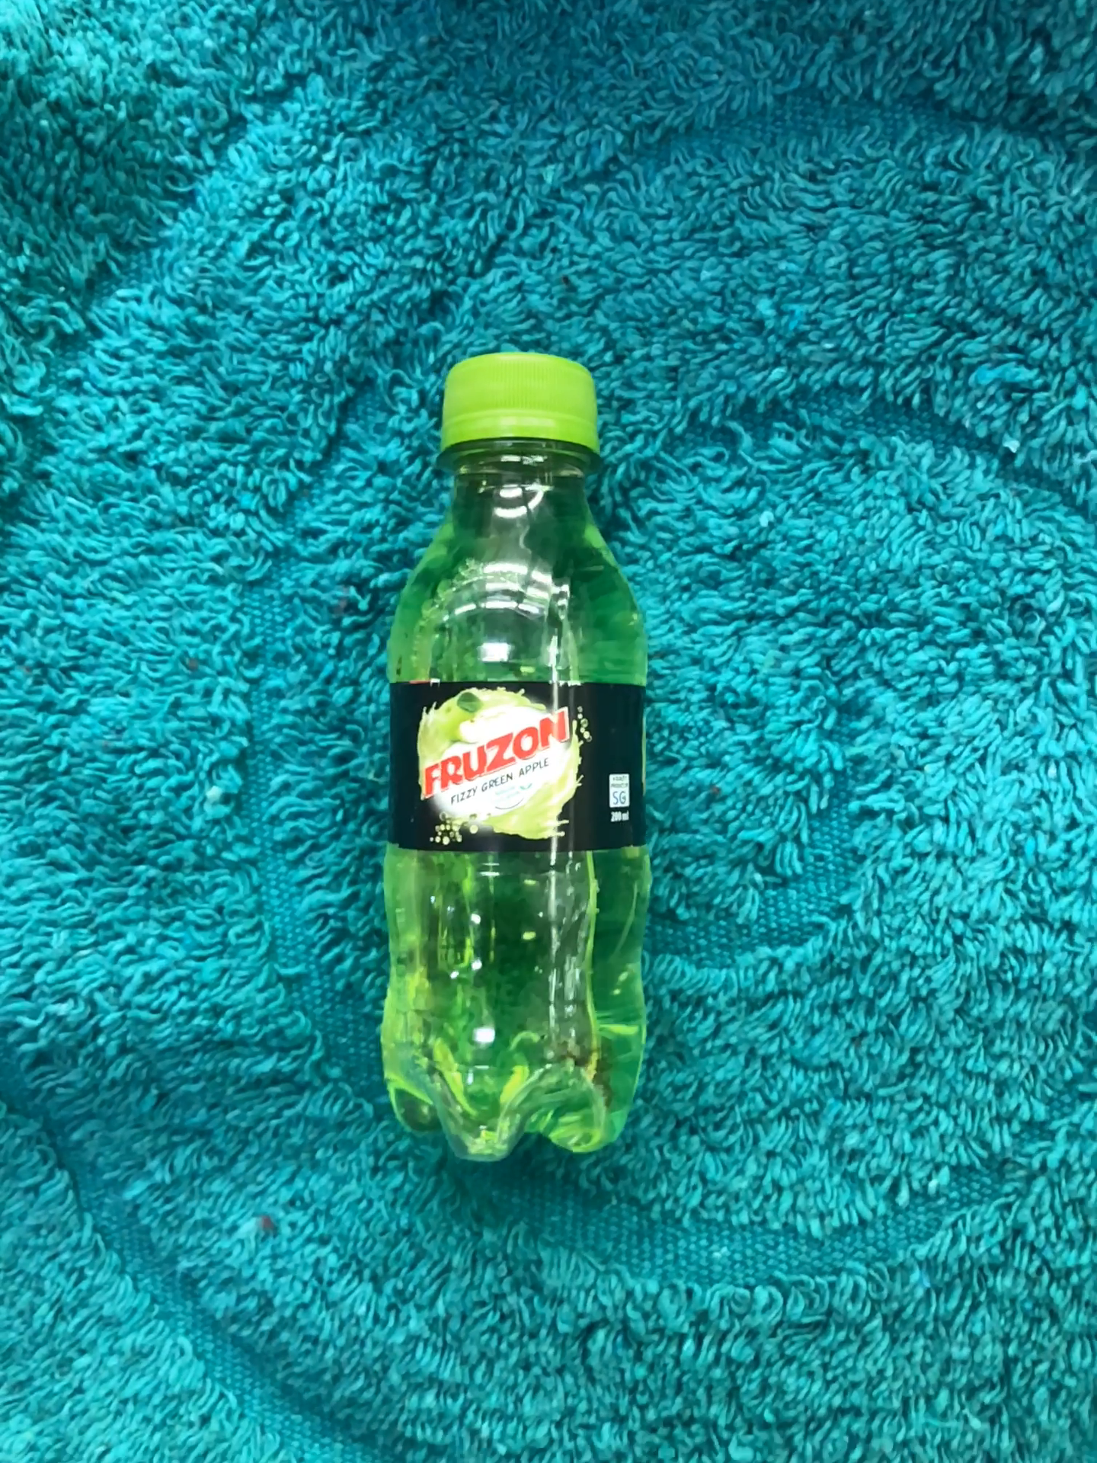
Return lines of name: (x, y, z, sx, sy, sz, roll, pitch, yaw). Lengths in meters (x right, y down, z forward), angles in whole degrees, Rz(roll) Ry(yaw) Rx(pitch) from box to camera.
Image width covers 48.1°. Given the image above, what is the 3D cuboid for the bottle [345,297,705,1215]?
bottle: (-0.002, 0.004, 0.244, 0.060, 0.050, 0.160, 1, 92, 11)
